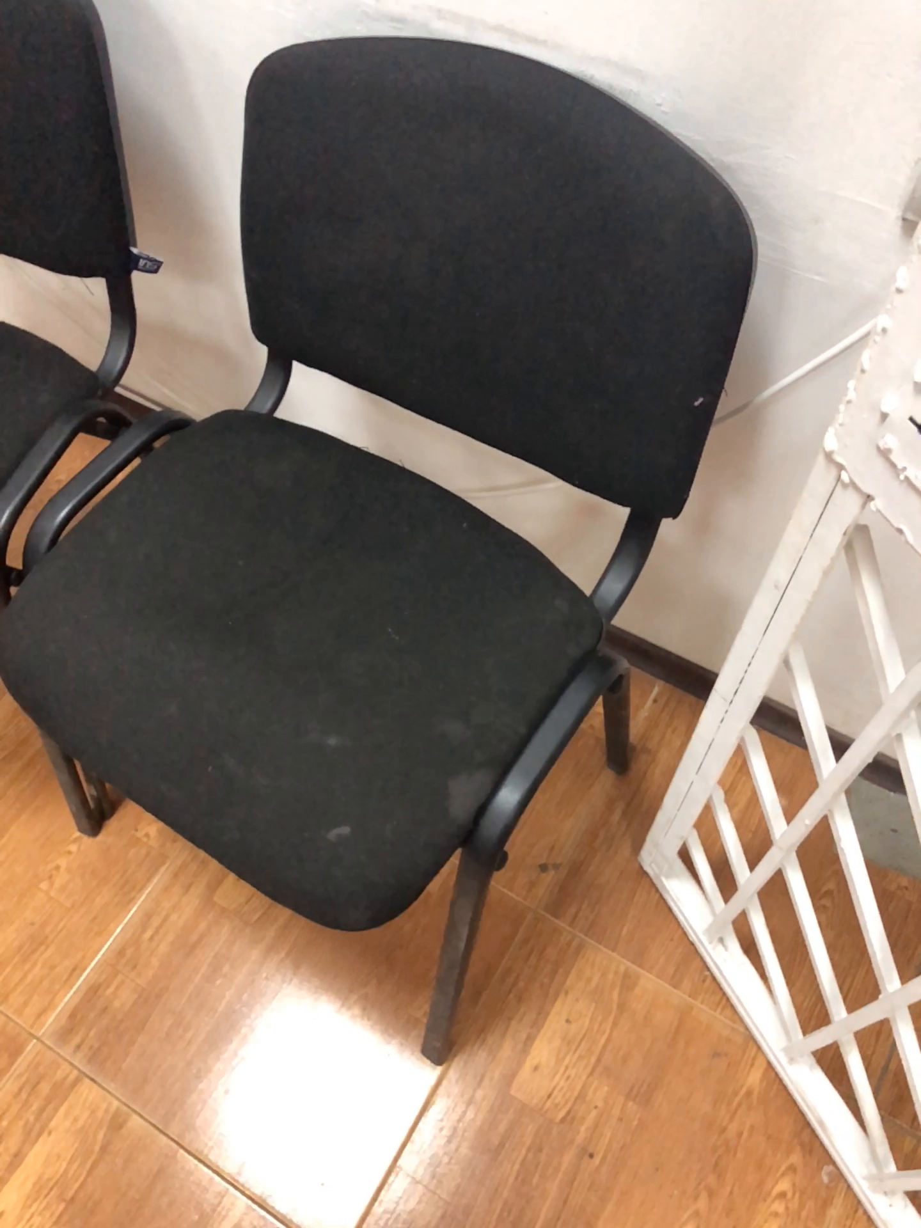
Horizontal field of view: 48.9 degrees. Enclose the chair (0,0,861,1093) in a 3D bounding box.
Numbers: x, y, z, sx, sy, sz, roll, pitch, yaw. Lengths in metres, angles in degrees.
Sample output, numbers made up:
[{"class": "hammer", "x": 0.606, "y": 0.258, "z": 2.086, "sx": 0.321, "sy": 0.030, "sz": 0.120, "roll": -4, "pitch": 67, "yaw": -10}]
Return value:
[{"class": "chair", "x": -0.111, "y": -0.015, "z": 0.884, "sx": 0.520, "sy": 0.748, "sz": 0.511, "roll": 28, "pitch": 63, "yaw": 17}]
